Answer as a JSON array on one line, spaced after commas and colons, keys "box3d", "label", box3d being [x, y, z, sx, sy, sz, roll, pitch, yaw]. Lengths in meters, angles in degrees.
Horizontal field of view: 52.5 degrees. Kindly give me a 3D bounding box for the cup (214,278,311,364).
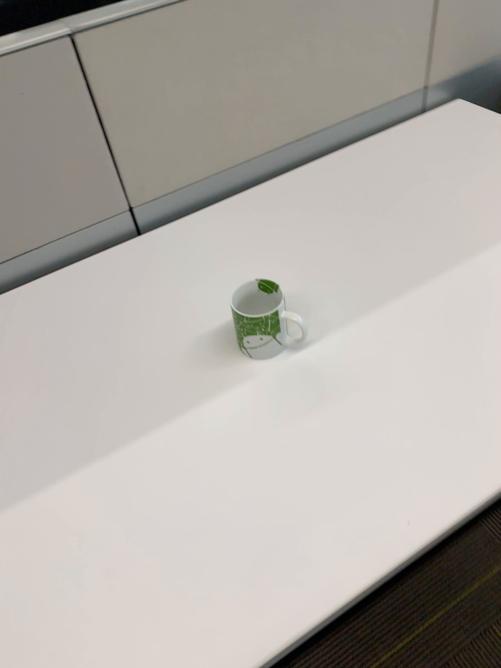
[{"box3d": [0.023, -0.021, 0.785, 0.130, 0.090, 0.090, 3, 48, 12], "label": "cup"}]
